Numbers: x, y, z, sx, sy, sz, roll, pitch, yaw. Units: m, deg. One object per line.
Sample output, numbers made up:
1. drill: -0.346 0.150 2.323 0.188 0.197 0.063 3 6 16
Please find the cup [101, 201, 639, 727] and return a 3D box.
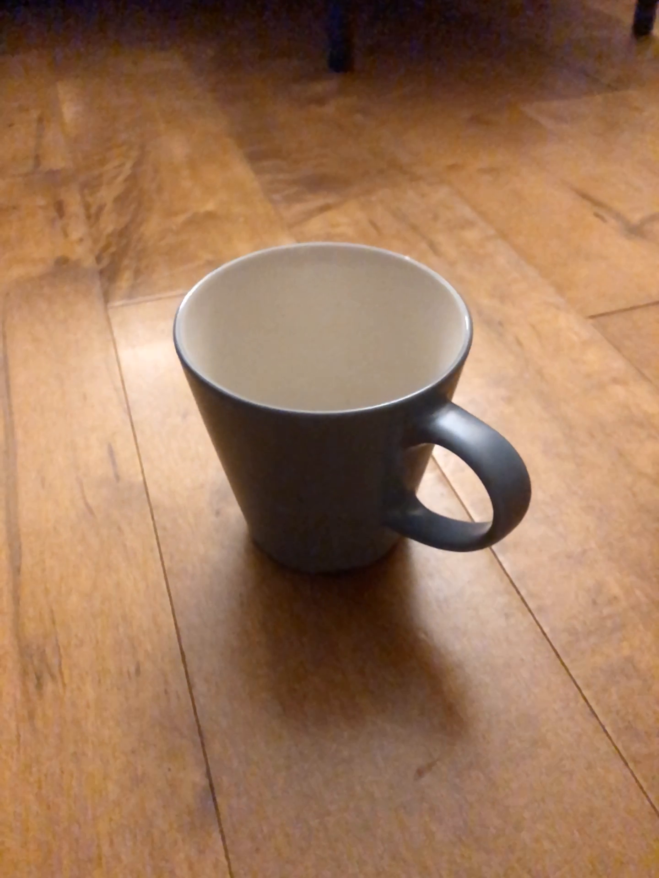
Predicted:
1. cup: 0.009 -0.001 0.267 0.100 0.099 0.141 -34 52 -30
